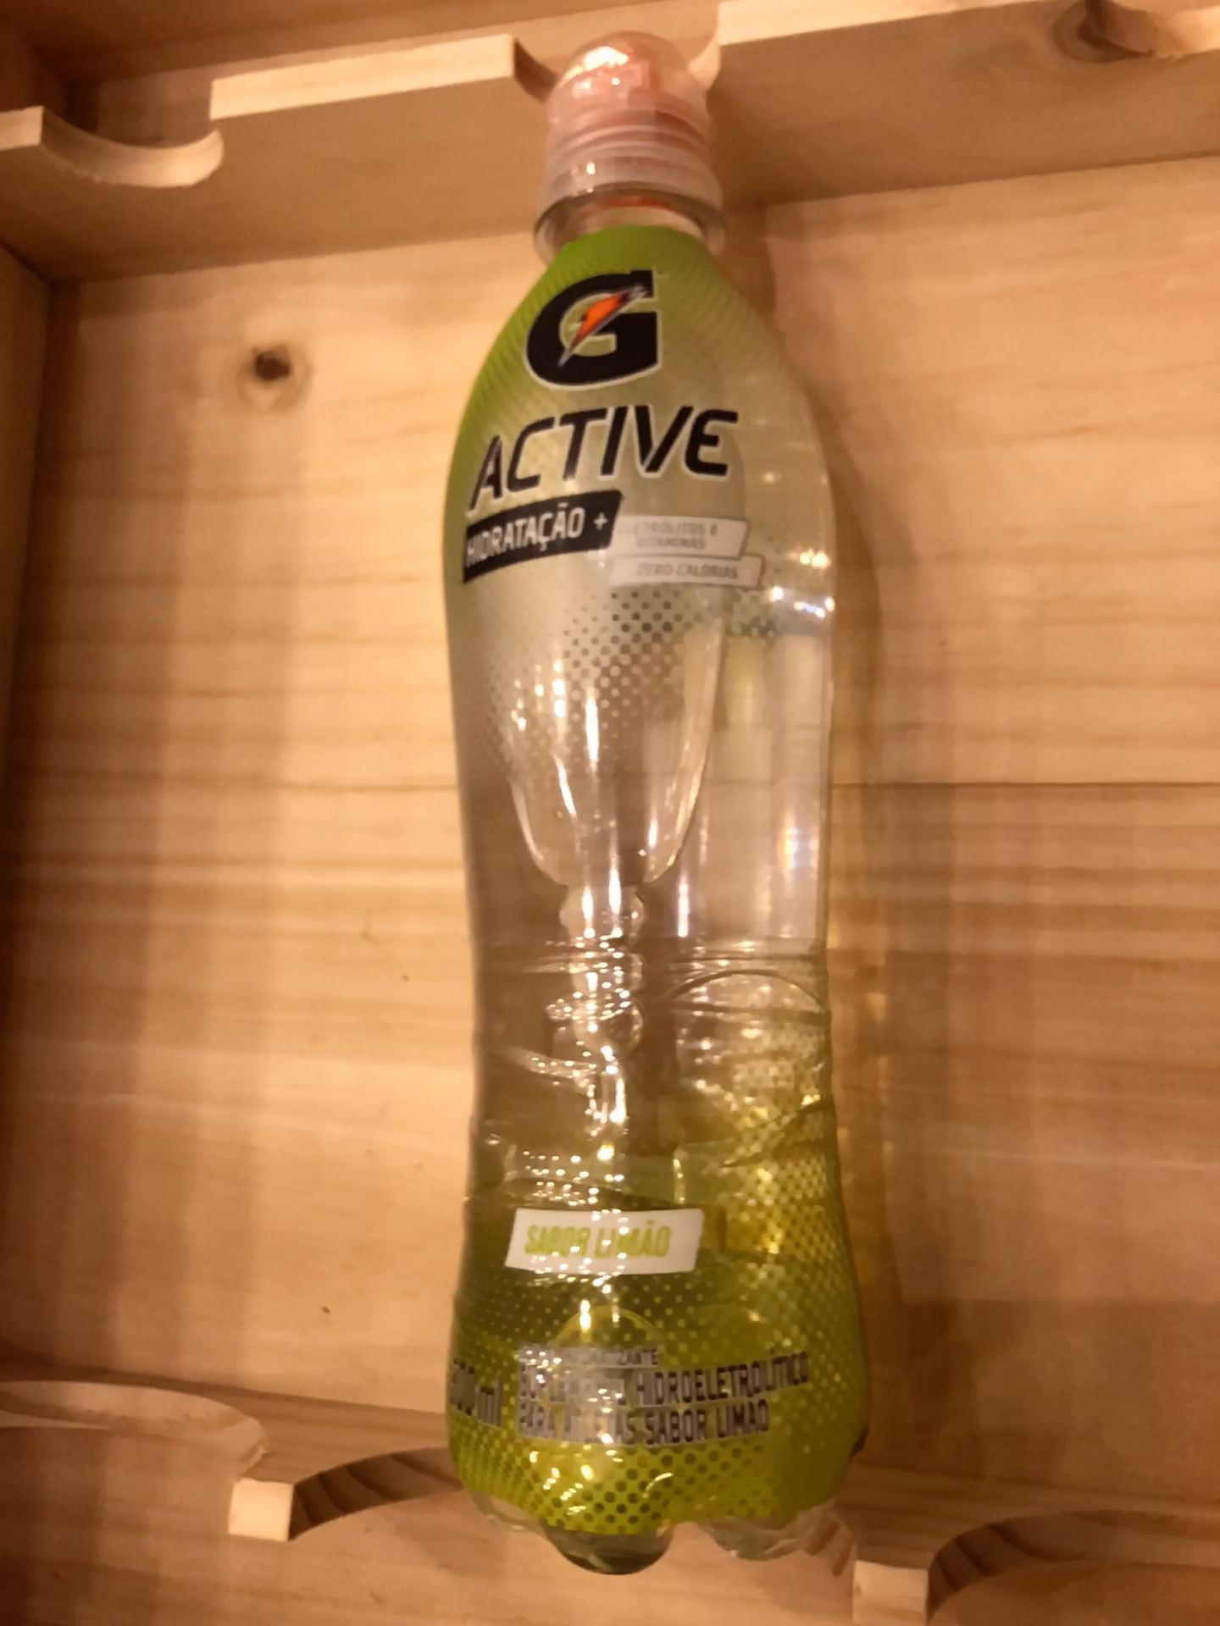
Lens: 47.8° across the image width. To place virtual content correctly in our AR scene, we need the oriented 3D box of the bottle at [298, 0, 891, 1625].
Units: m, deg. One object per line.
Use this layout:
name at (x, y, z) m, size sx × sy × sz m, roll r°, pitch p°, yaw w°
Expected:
bottle at (0.003, -0.024, 0.222) m, size 0.070 × 0.070 × 0.270 m, roll -3°, pitch 79°, yaw 14°
